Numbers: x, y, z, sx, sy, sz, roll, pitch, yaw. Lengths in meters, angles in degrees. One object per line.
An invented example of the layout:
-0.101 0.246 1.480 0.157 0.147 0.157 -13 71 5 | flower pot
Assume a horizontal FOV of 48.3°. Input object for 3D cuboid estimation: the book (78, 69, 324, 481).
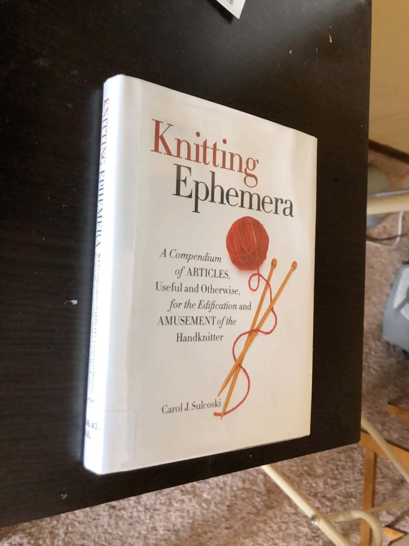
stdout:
0.006 0.003 0.246 0.133 0.029 0.178 3 88 -34 | book
